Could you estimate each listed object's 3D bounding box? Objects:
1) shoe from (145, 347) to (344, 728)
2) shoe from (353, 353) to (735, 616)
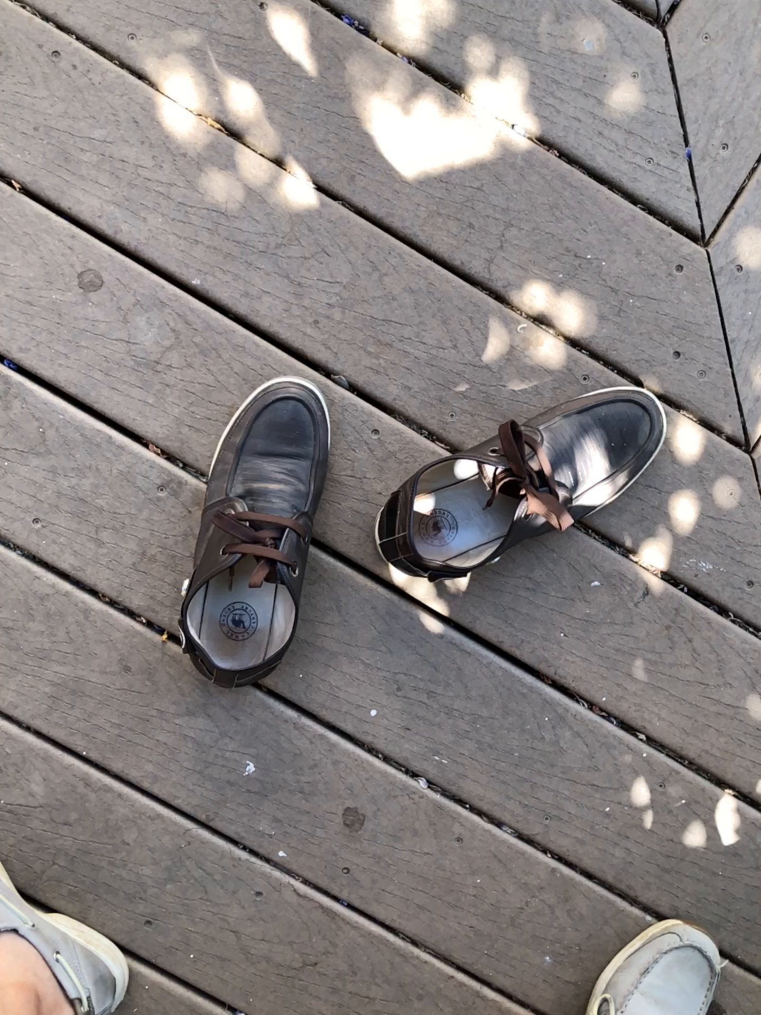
[{"bbox_3d":[-0.116,0.024,0.751,0.108,0.121,0.300,11,93,-3],"label":"shoe"},{"bbox_3d":[0.137,-0.022,0.760,0.303,0.121,0.108,-24,94,-1],"label":"shoe"}]
